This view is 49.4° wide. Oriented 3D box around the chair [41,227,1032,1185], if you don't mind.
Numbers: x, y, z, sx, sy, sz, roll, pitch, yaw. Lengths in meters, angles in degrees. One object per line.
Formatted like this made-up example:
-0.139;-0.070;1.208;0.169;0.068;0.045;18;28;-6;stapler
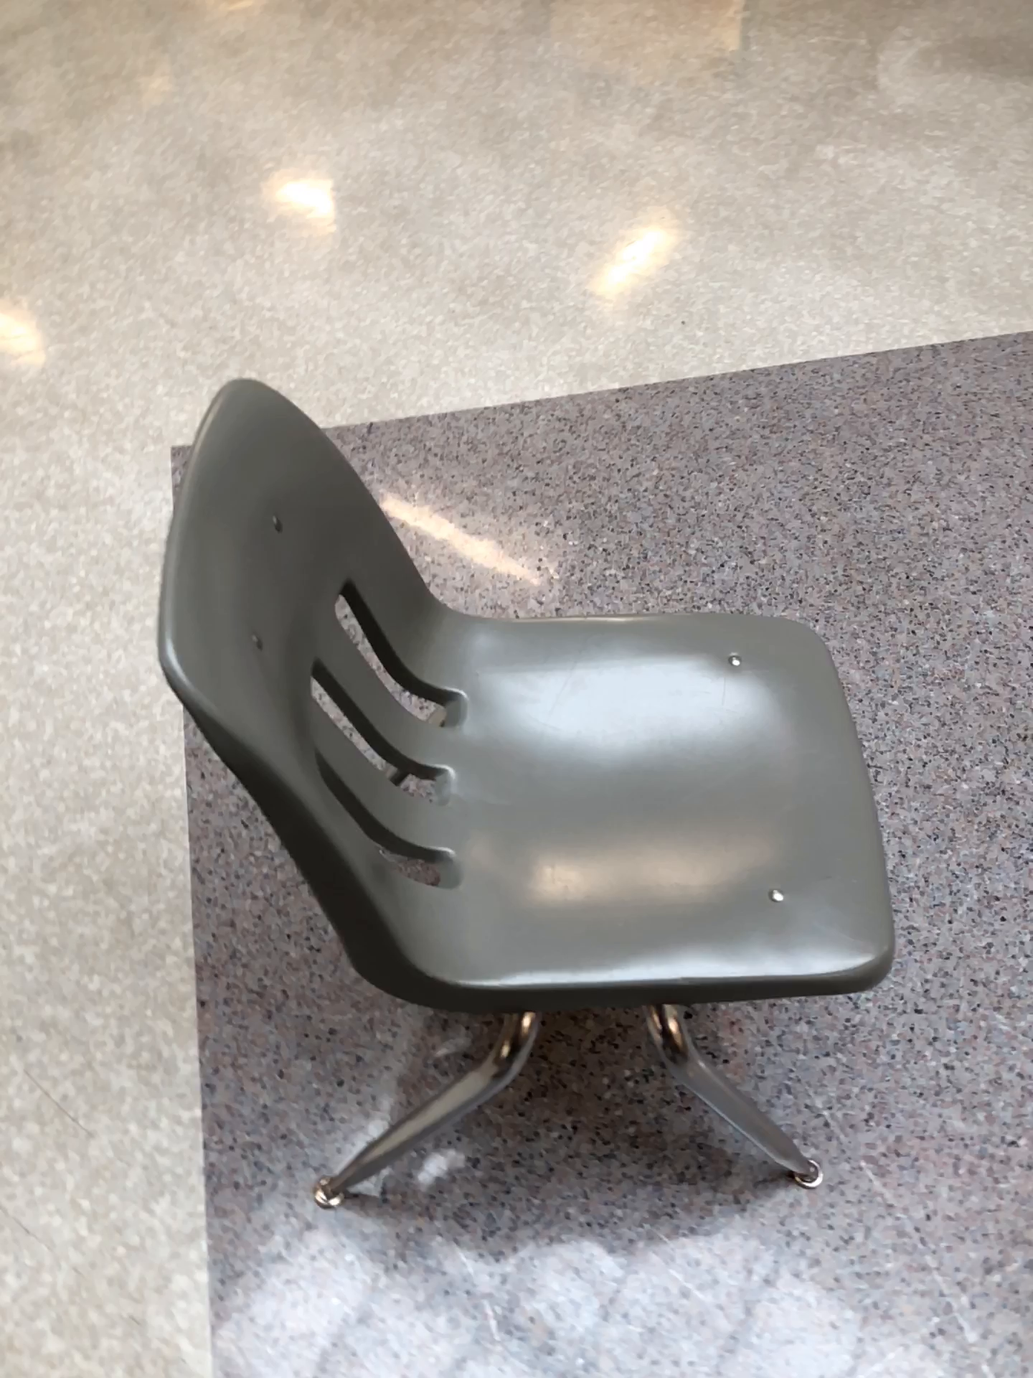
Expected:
0.045;0.060;0.955;0.550;0.666;0.513;-1;53;-1;chair
